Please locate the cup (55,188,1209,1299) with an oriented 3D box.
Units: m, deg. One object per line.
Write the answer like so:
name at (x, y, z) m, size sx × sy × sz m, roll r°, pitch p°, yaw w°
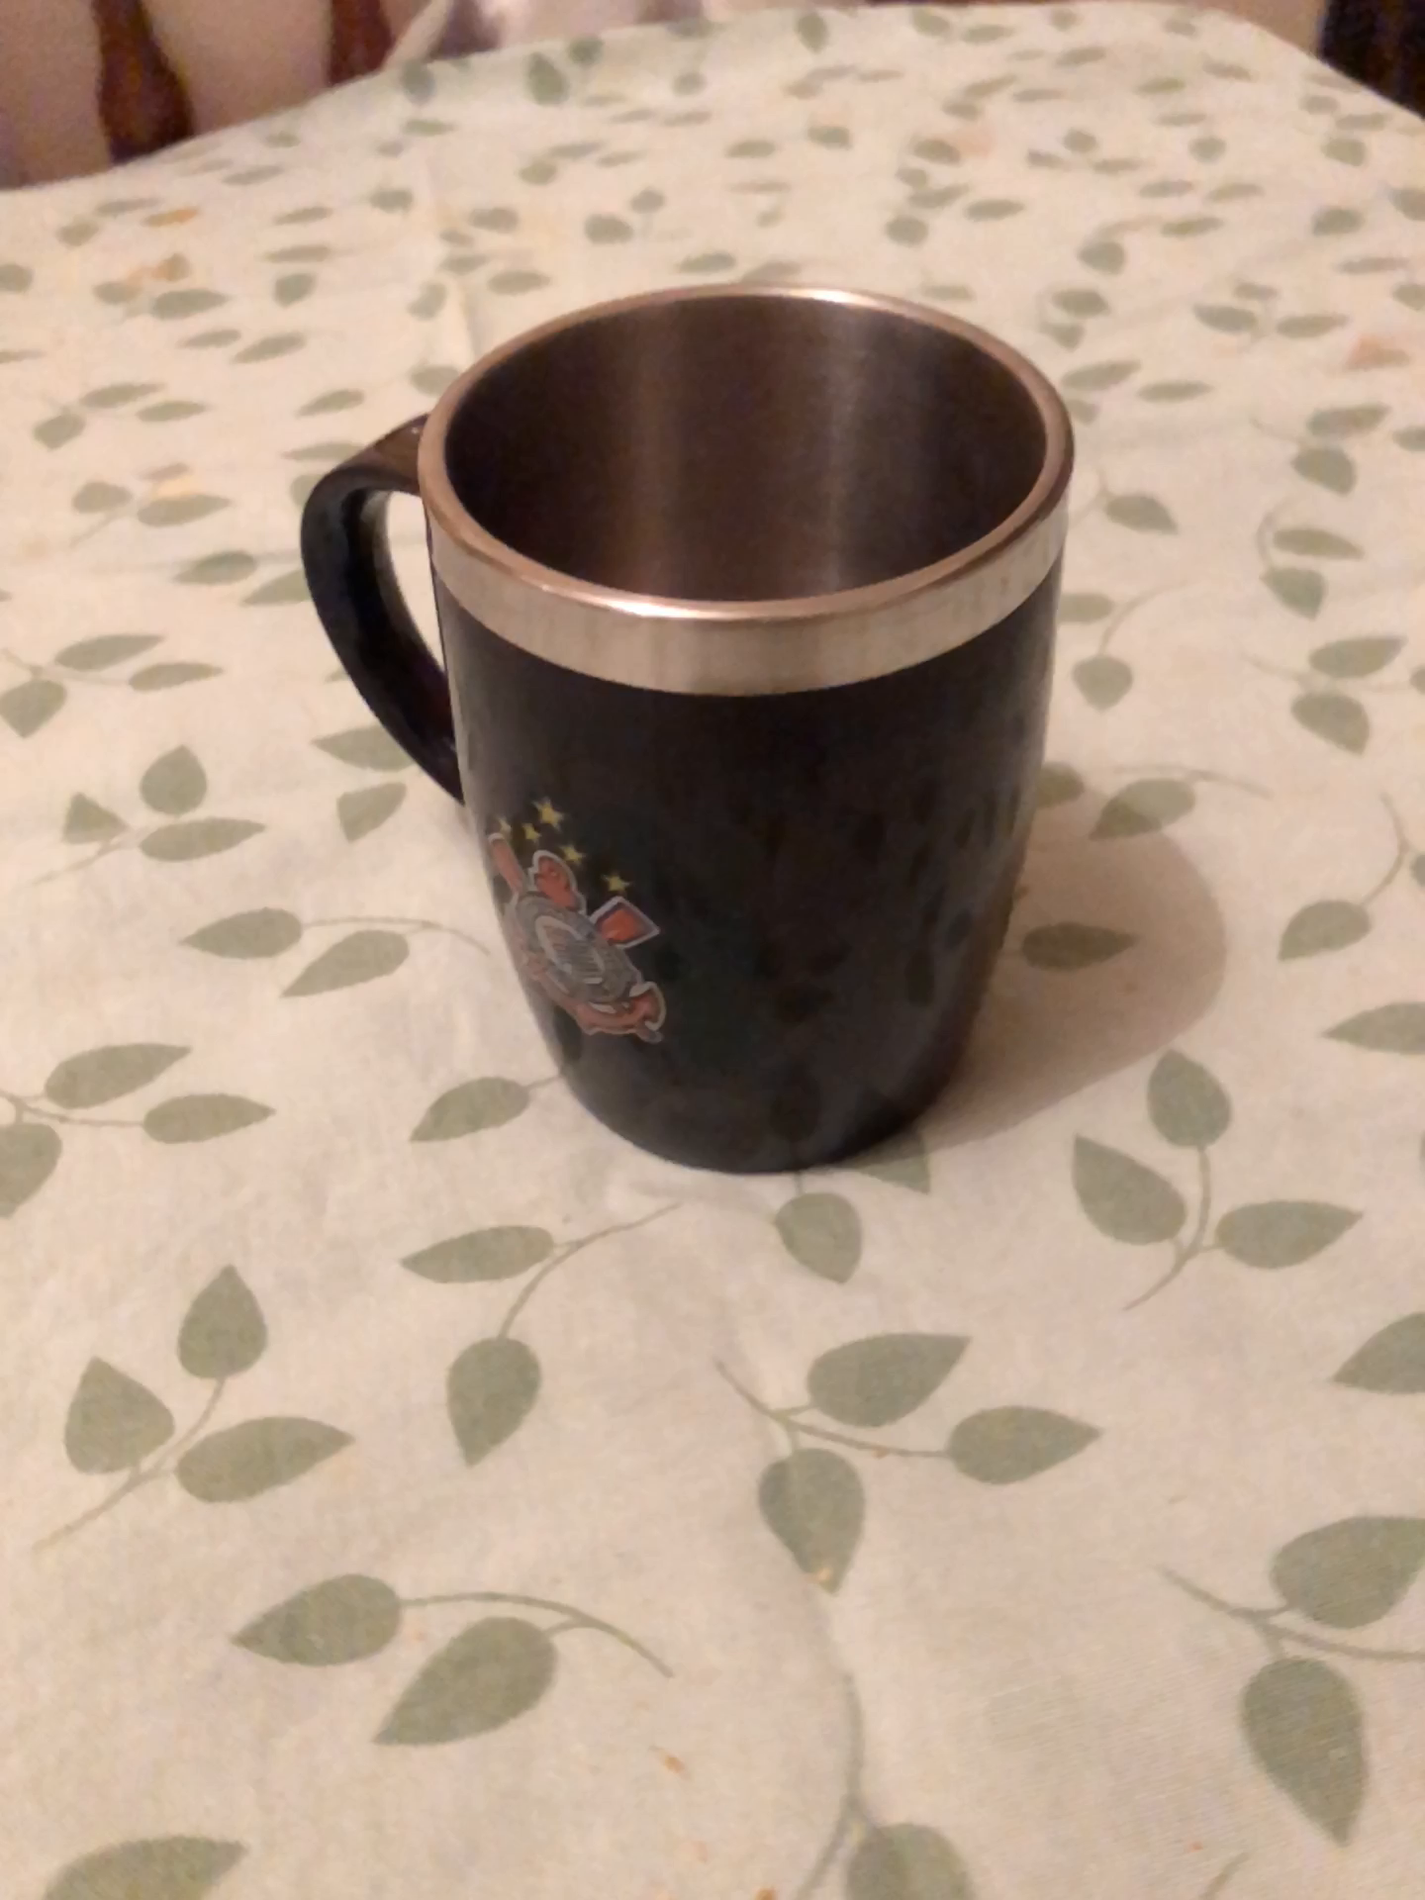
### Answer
cup at (-0.007, -0.036, 0.260) m, size 0.130 × 0.119 × 0.091 m, roll 20°, pitch 50°, yaw 21°
